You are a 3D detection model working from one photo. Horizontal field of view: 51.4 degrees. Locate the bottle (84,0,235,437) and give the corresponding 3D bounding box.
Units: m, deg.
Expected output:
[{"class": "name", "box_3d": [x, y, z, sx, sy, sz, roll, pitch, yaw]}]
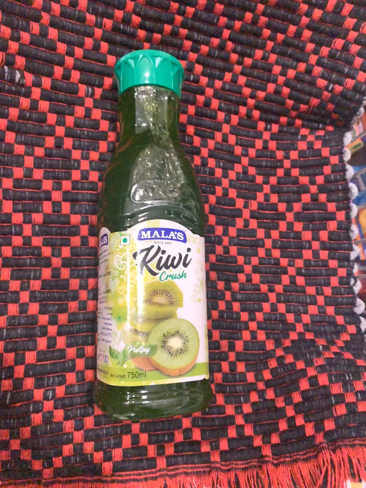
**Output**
[{"class": "bottle", "box_3d": [-0.023, -0.024, 0.259, 0.070, 0.080, 0.260, 3, 76, -22]}]
